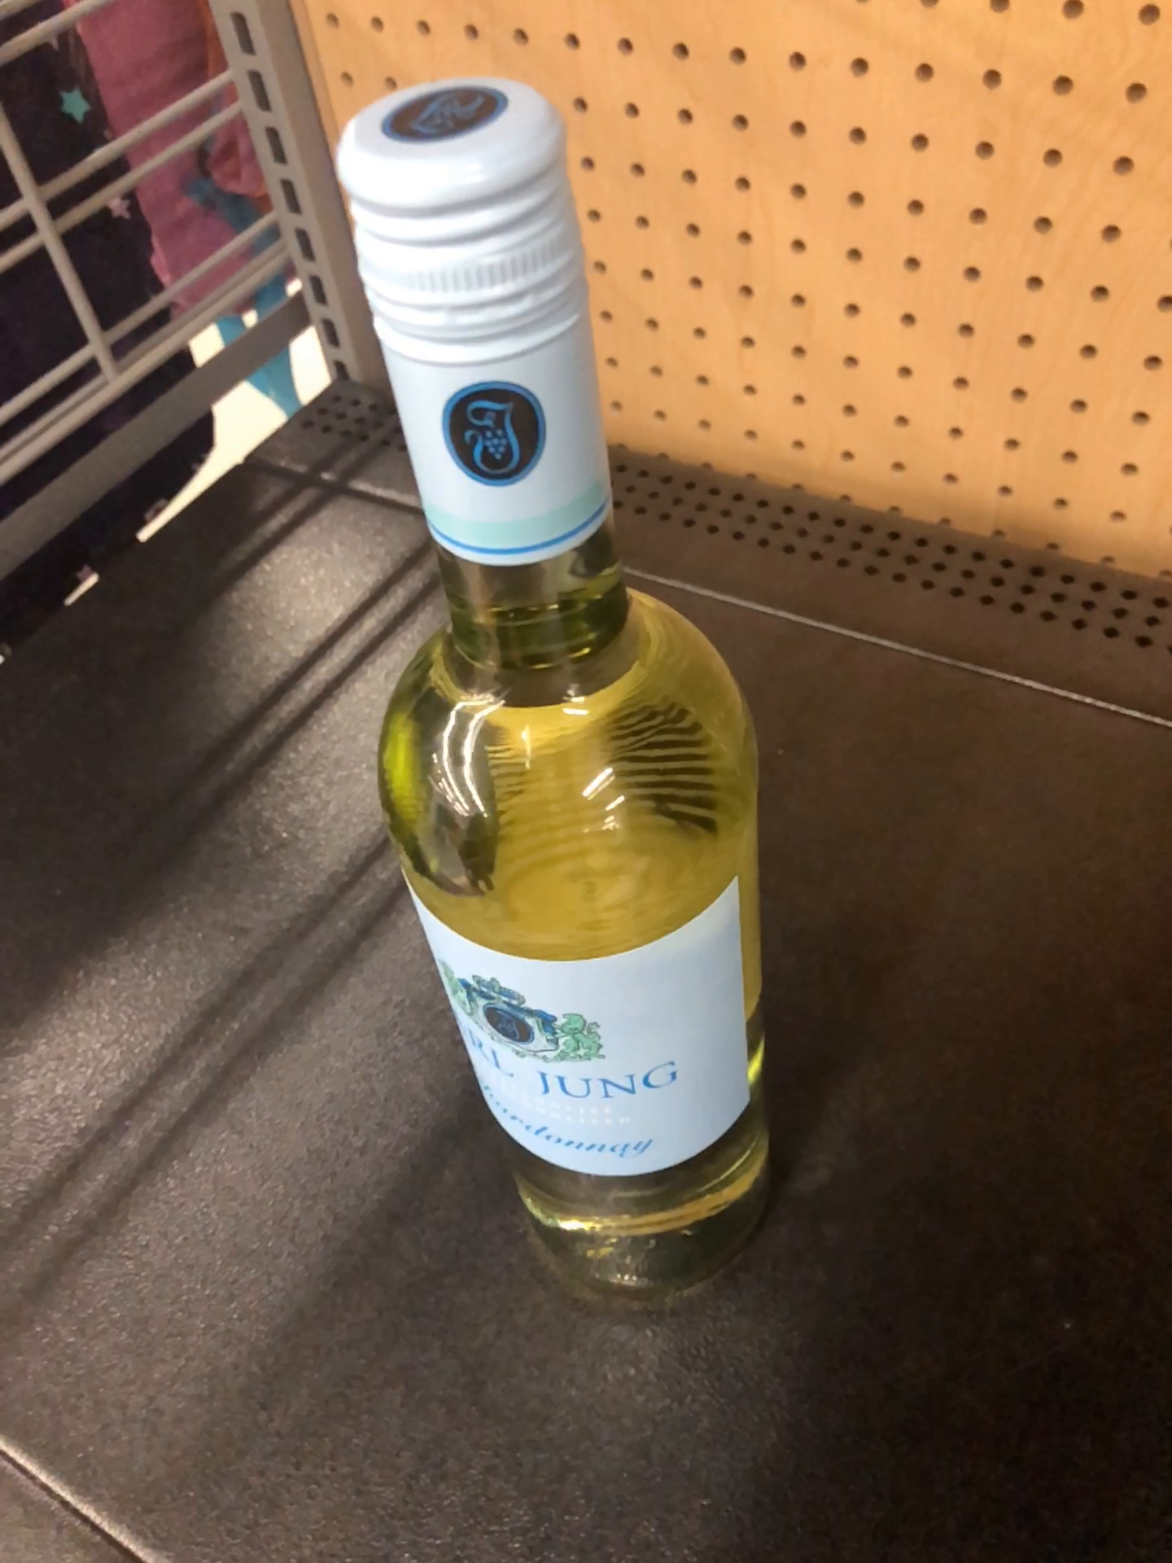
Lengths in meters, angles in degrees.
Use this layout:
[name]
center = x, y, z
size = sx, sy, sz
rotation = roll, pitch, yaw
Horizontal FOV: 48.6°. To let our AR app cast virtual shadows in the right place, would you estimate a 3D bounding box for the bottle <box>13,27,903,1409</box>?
[bottle]
center = 0.007, 0.030, 0.276
size = 0.080, 0.318, 0.080
rotation = -5, 49, 5
